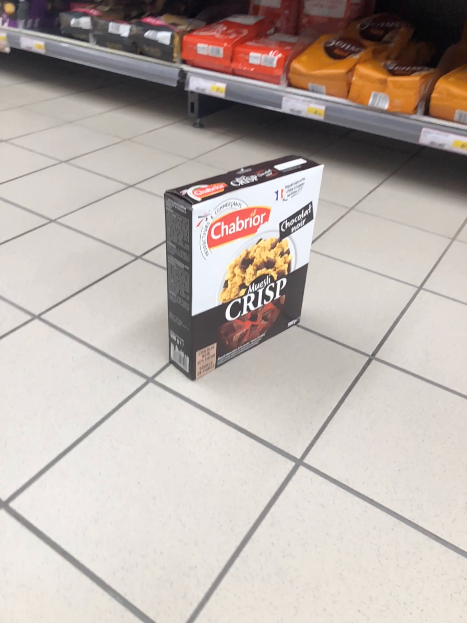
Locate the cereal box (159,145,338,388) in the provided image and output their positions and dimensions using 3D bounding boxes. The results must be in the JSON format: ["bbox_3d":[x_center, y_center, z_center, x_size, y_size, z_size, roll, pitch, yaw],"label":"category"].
[{"bbox_3d":[0.016,-0.055,0.602,0.201,0.229,0.060,-26,45,-35],"label":"cereal box"}]
